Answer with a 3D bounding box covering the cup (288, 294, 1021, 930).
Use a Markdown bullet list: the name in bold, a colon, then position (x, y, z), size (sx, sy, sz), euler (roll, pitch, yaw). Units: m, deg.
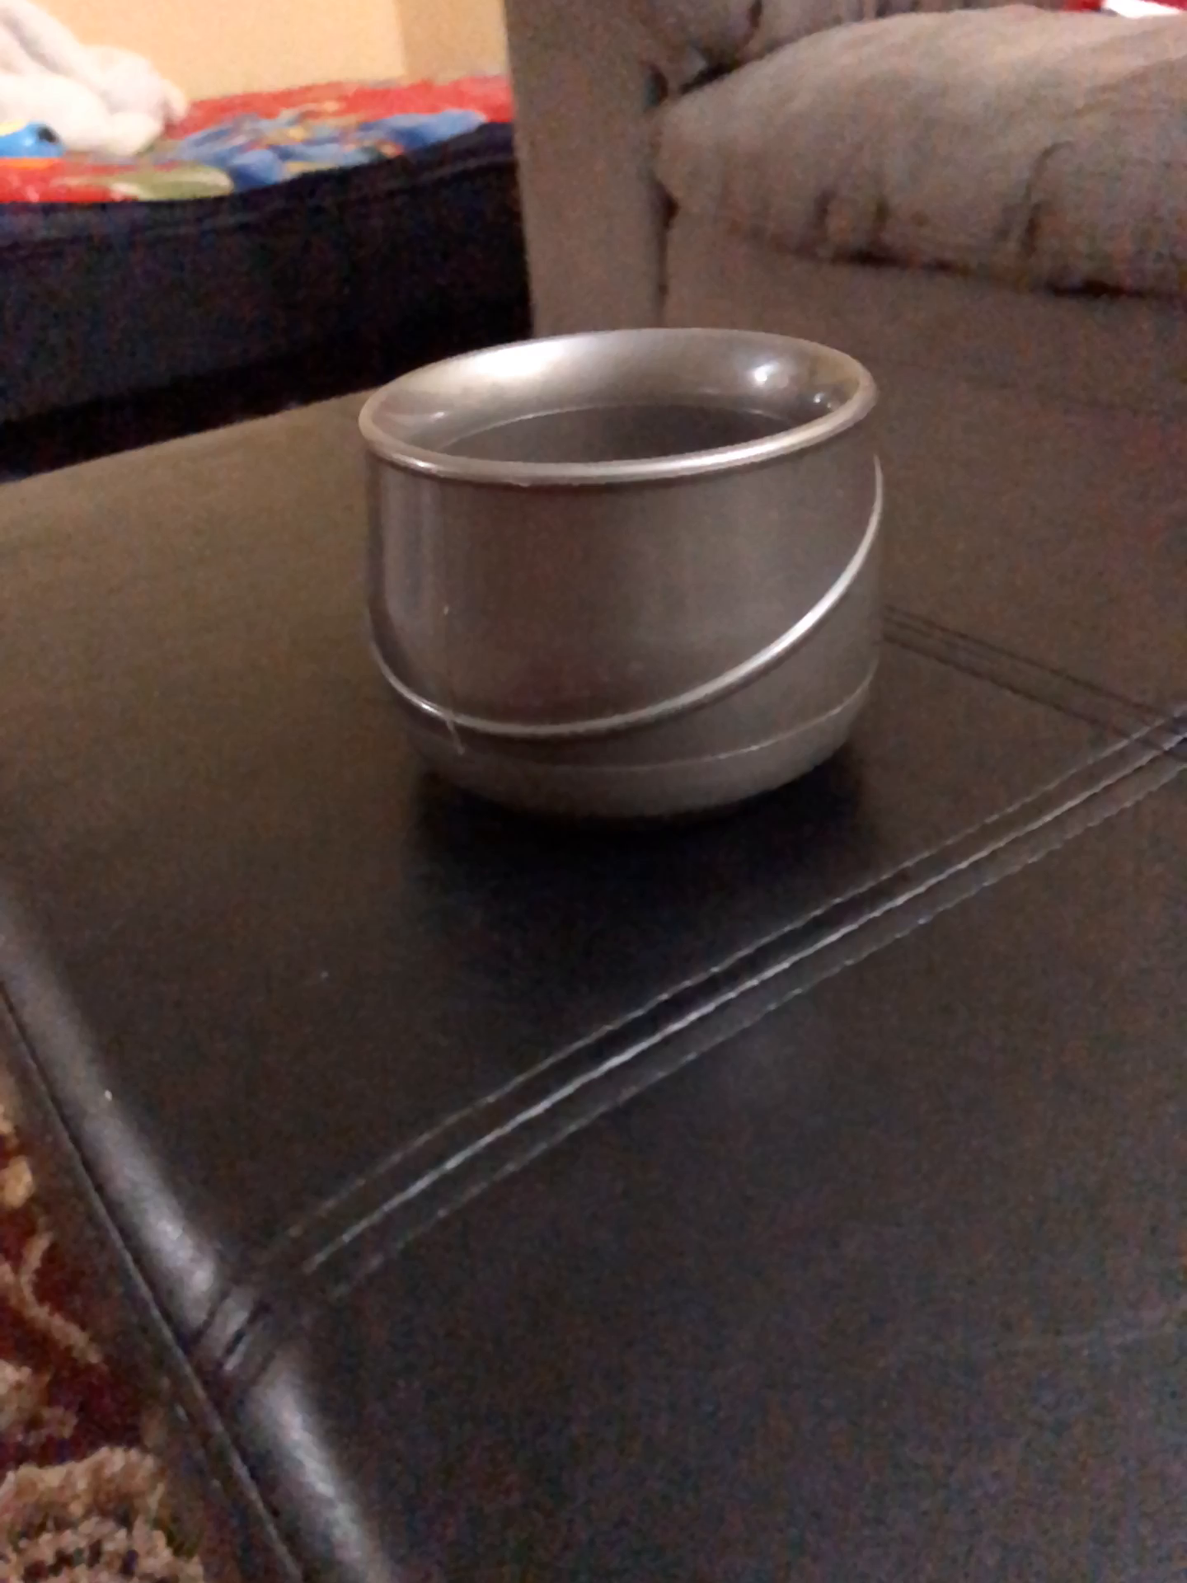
- **cup**: position (0.006, -0.038, 0.228), size (0.090, 0.066, 0.084), euler (-3, 31, 2)
